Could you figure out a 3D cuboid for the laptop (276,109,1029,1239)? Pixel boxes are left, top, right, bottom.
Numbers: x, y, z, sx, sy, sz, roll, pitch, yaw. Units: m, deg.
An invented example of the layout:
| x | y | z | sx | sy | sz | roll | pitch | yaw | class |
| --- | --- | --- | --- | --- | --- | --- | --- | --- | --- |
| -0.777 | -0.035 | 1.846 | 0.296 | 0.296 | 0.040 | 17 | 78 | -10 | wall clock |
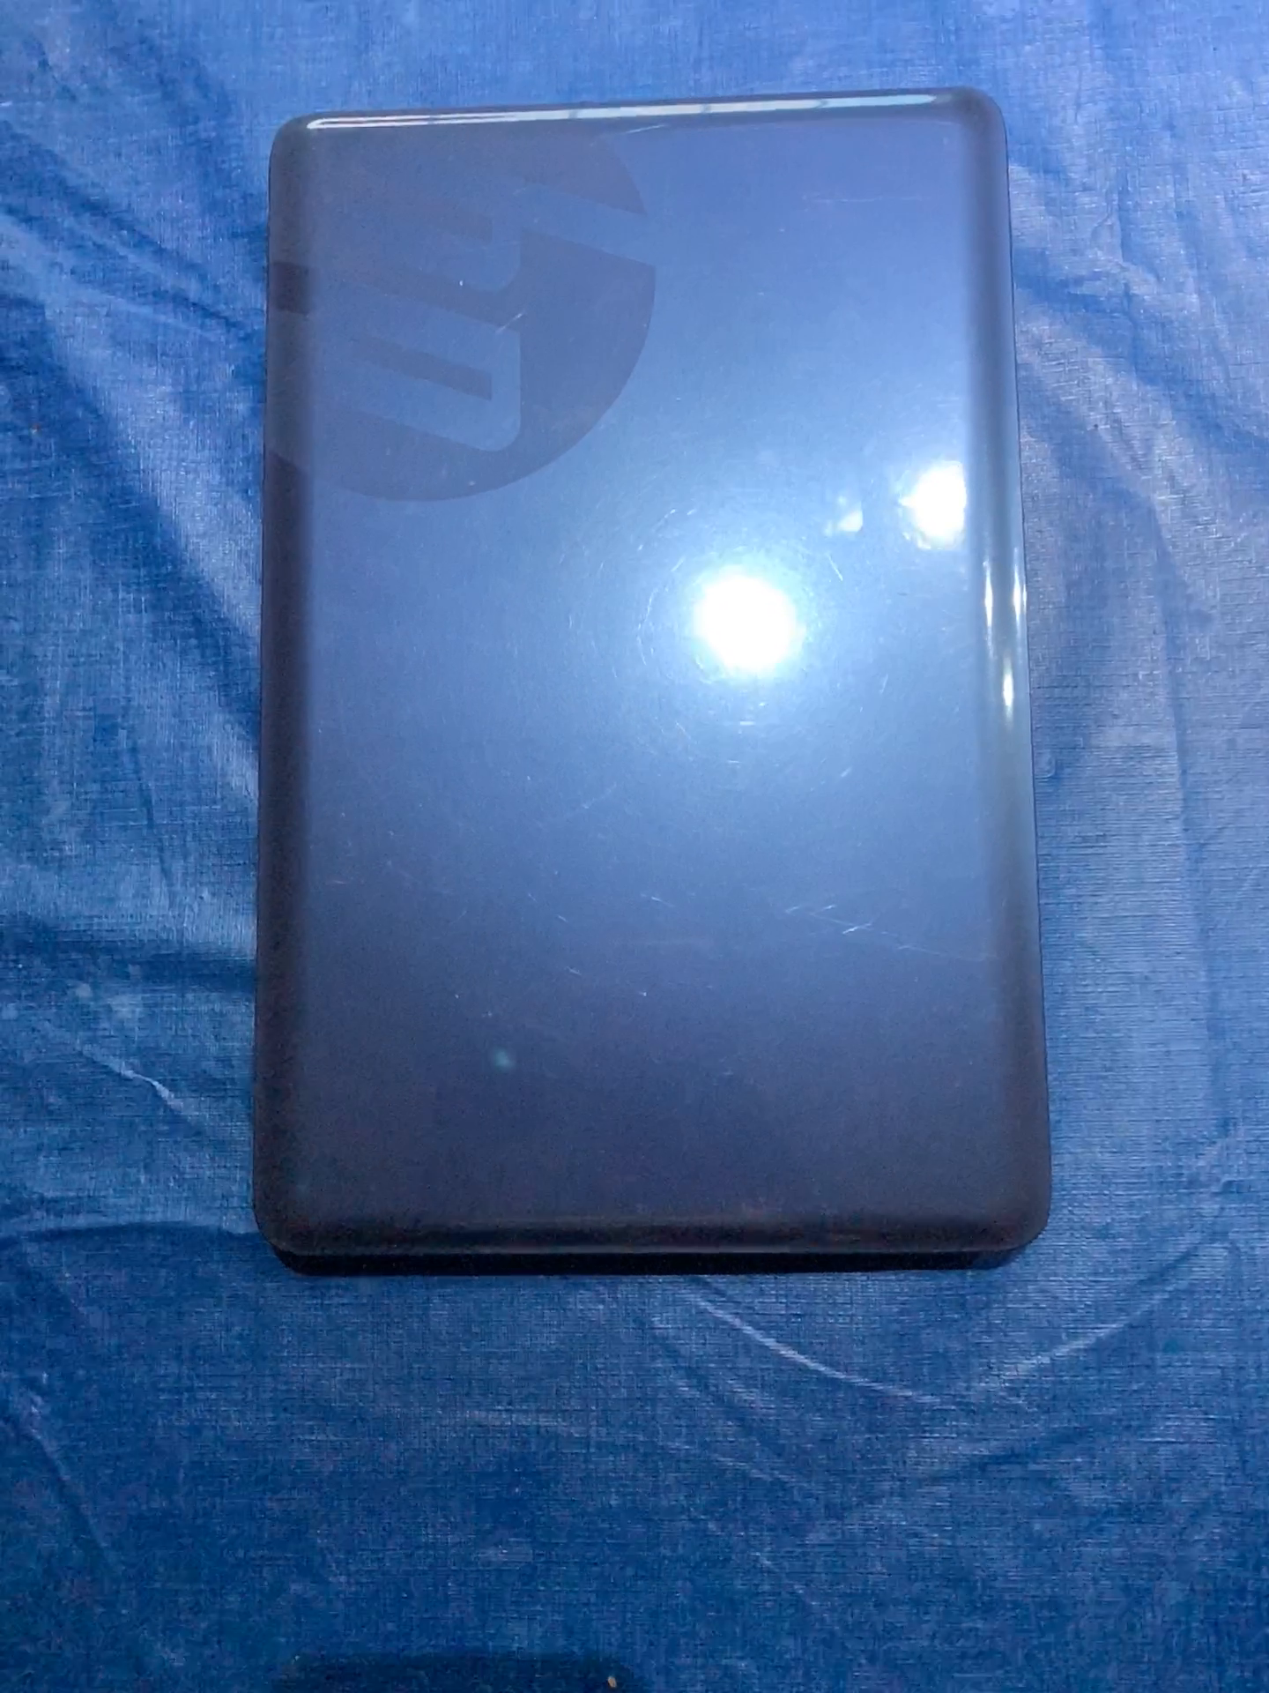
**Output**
| x | y | z | sx | sy | sz | roll | pitch | yaw | class |
| --- | --- | --- | --- | --- | --- | --- | --- | --- | --- |
| 0.002 | -0.060 | 0.424 | 0.235 | 0.009 | 0.363 | -1 | 86 | 2 | laptop |
